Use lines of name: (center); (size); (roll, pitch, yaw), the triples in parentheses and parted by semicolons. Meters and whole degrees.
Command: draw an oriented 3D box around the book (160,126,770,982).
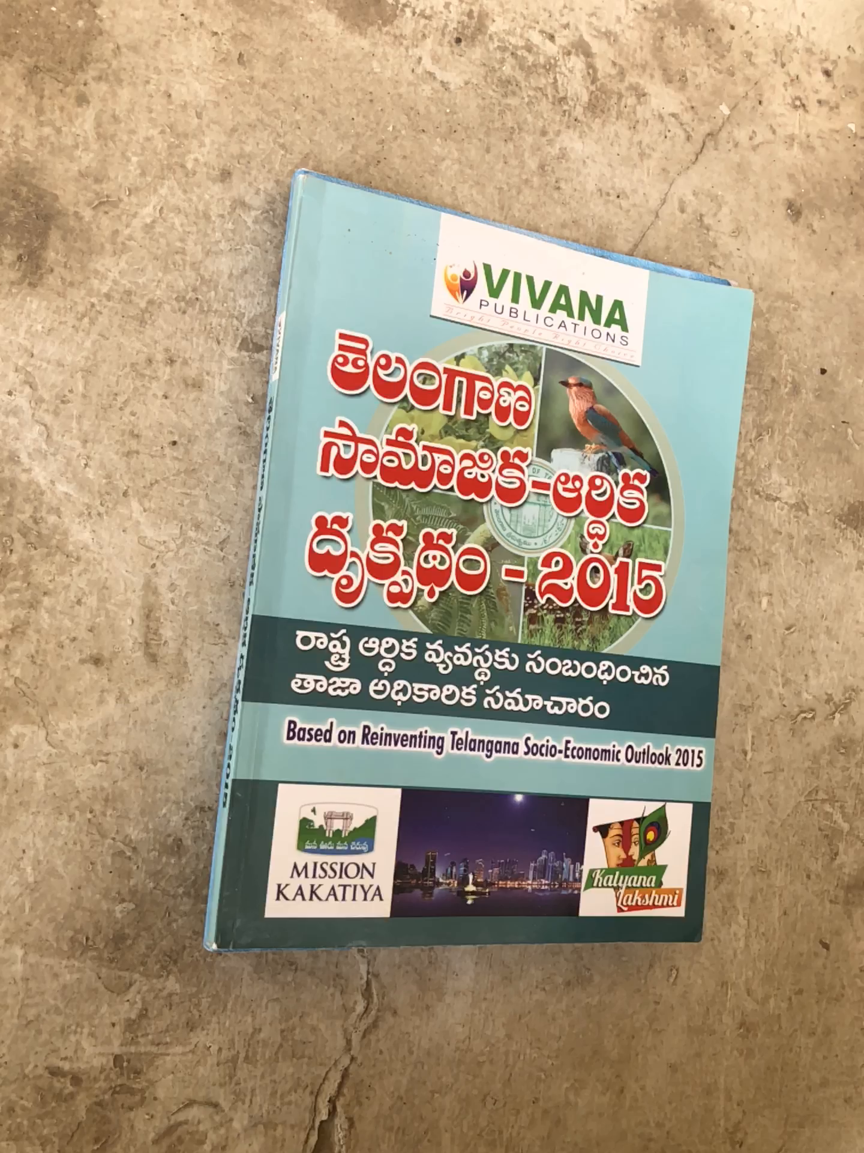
book: (0.023, 0.000, 0.347); (0.200, 0.030, 0.270); (8, 84, -20)
